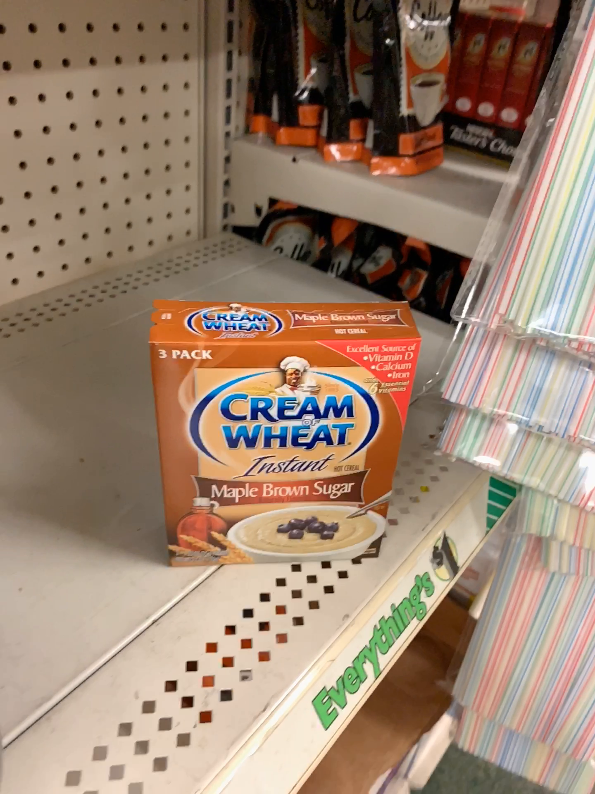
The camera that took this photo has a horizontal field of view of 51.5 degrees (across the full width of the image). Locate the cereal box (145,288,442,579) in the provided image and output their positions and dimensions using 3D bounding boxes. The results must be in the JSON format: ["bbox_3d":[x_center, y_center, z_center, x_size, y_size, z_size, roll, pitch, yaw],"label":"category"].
[{"bbox_3d":[-0.008,0.024,0.307,0.120,0.149,0.040,0,36,-8],"label":"cereal box"}]
